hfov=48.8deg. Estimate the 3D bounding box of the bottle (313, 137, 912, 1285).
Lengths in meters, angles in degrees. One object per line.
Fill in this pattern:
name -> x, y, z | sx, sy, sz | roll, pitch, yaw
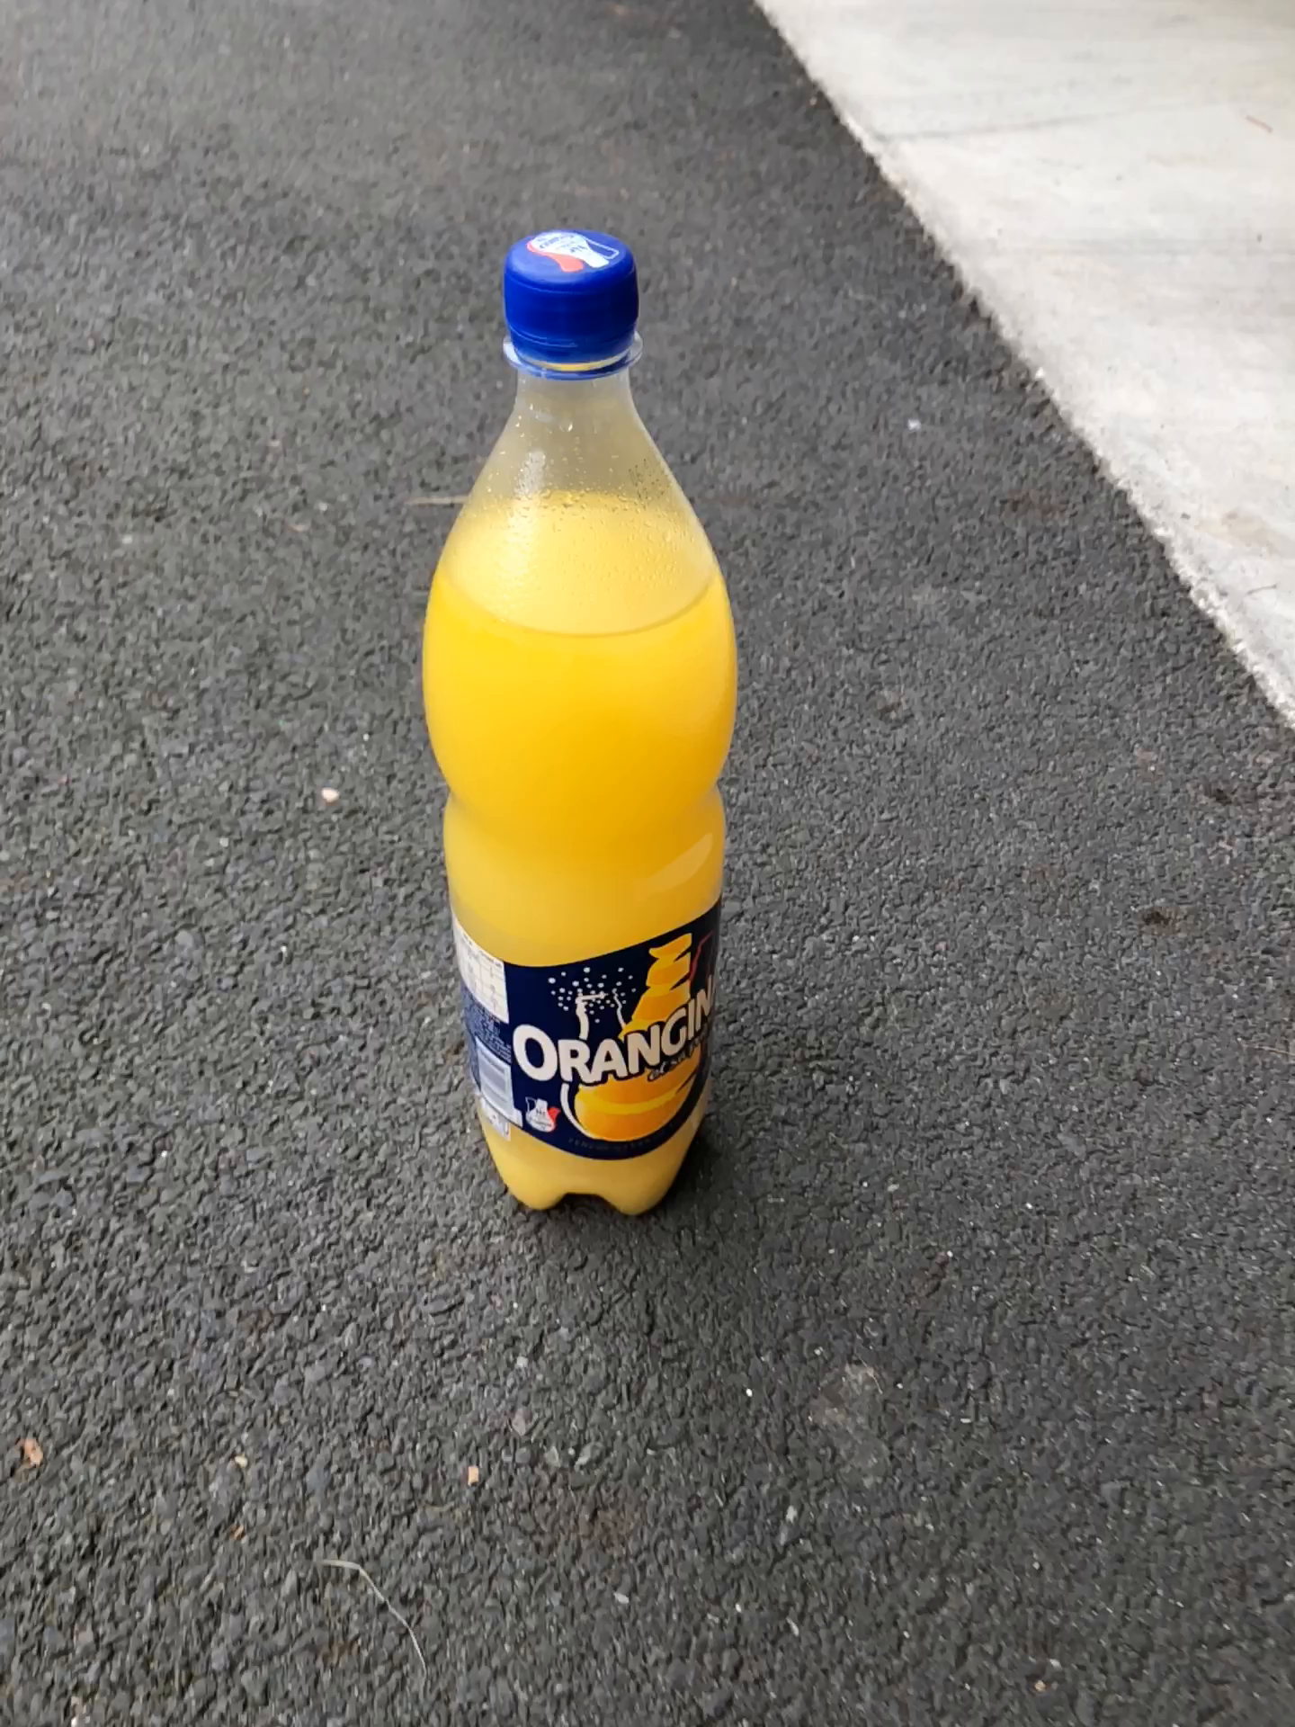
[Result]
bottle -> -0.020, -0.021, 0.439 | 0.100, 0.338, 0.100 | 3, 43, -2
